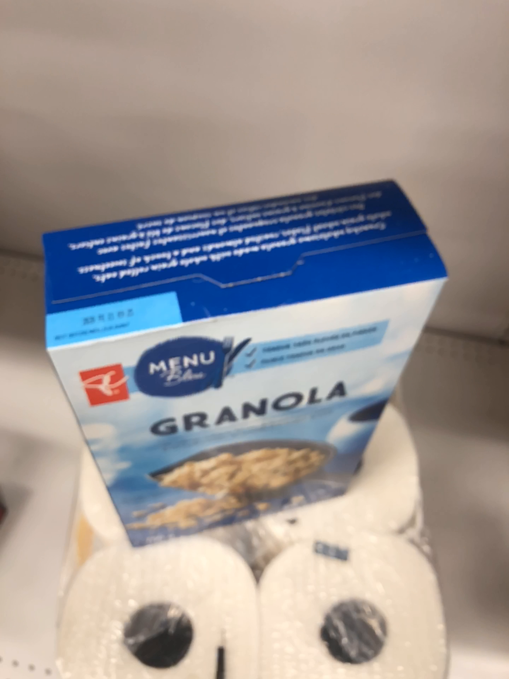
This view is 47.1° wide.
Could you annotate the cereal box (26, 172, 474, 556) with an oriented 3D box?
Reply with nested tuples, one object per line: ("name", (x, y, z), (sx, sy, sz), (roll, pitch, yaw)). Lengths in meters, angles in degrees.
("cereal box", (-0.008, 0.035, 0.317), (0.160, 0.239, 0.060), (-10, 55, -9))
